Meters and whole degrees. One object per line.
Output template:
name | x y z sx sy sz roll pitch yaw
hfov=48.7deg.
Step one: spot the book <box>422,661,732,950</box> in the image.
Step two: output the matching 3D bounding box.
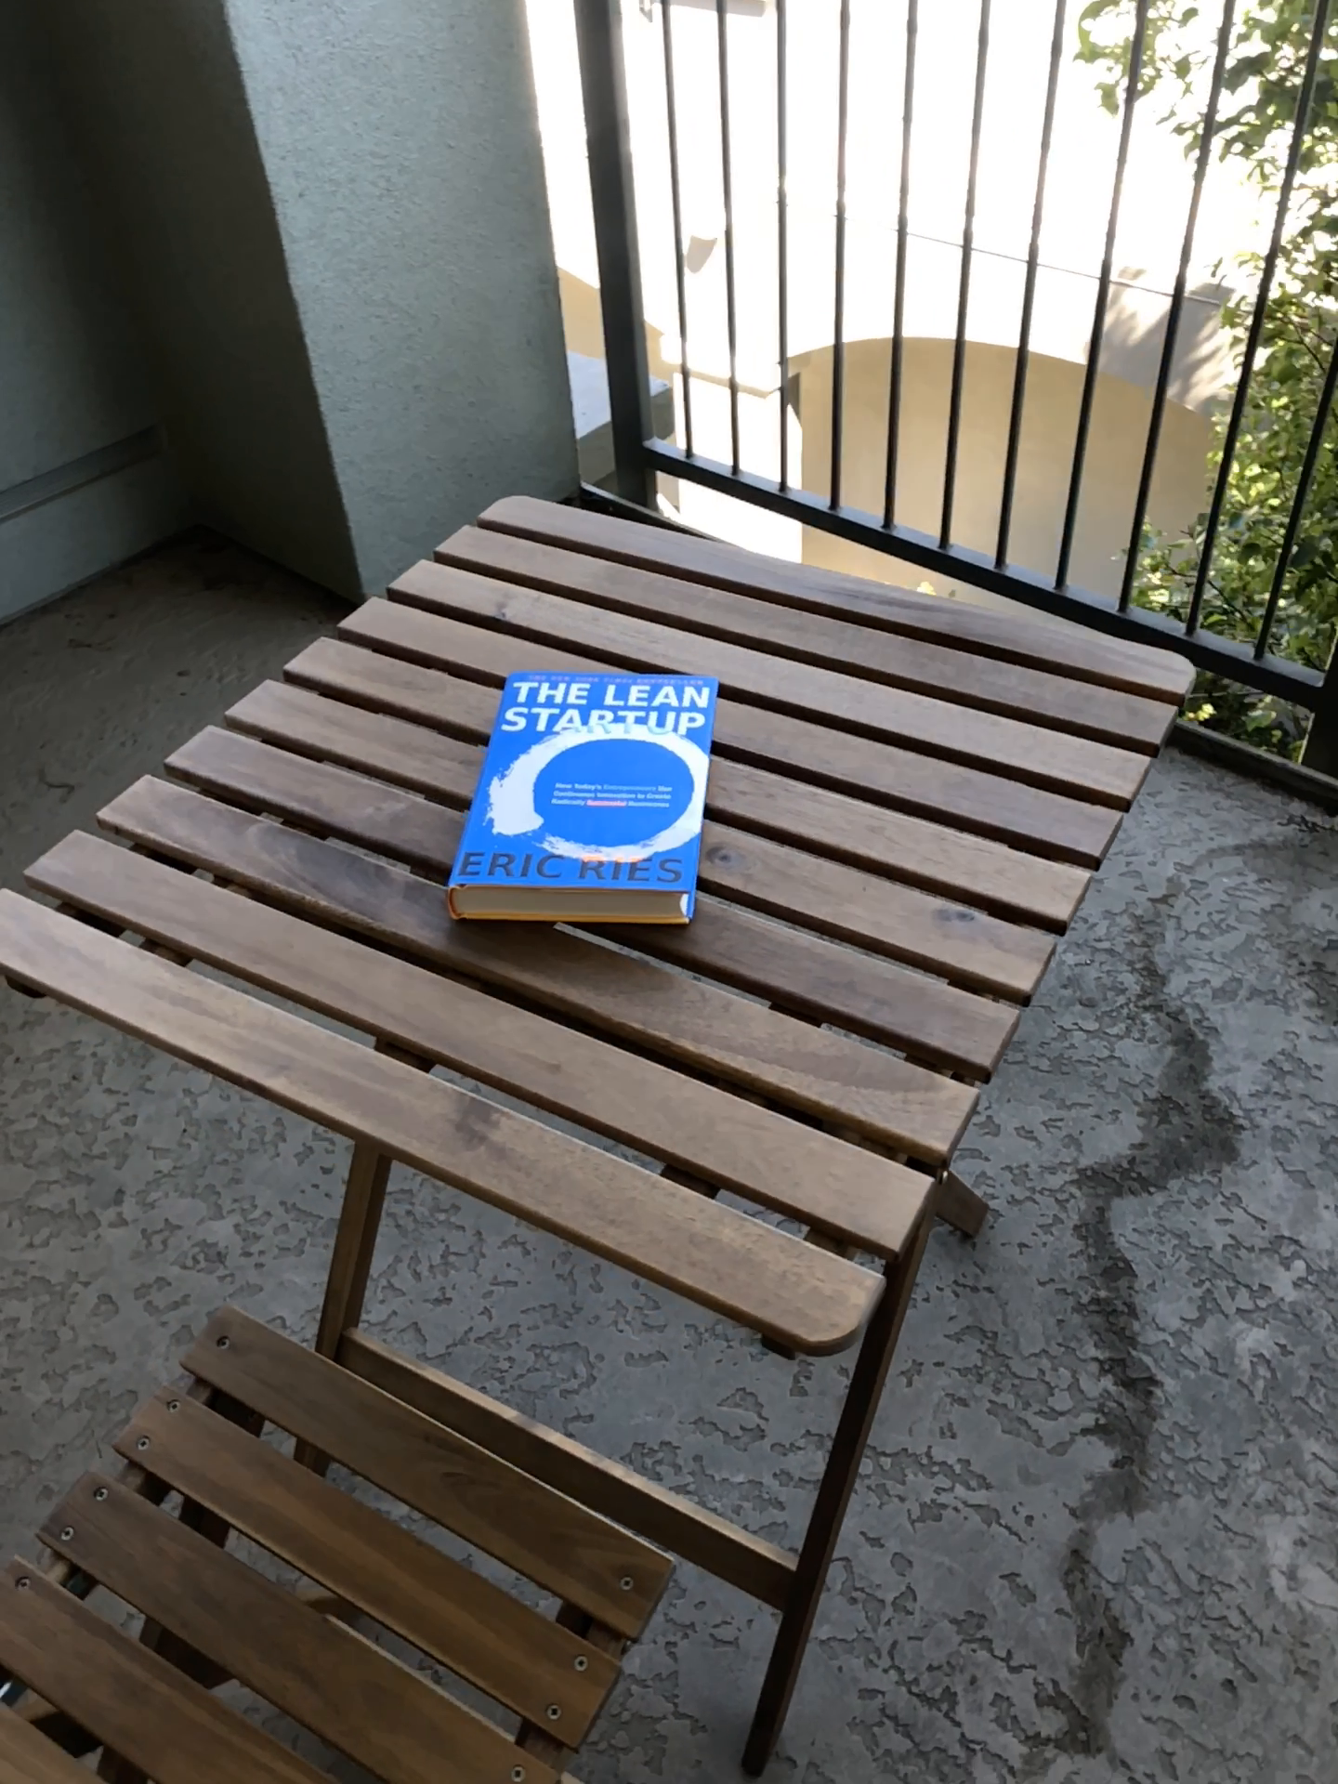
book | -0.050 -0.063 0.942 0.160 0.040 0.231 2 44 7
